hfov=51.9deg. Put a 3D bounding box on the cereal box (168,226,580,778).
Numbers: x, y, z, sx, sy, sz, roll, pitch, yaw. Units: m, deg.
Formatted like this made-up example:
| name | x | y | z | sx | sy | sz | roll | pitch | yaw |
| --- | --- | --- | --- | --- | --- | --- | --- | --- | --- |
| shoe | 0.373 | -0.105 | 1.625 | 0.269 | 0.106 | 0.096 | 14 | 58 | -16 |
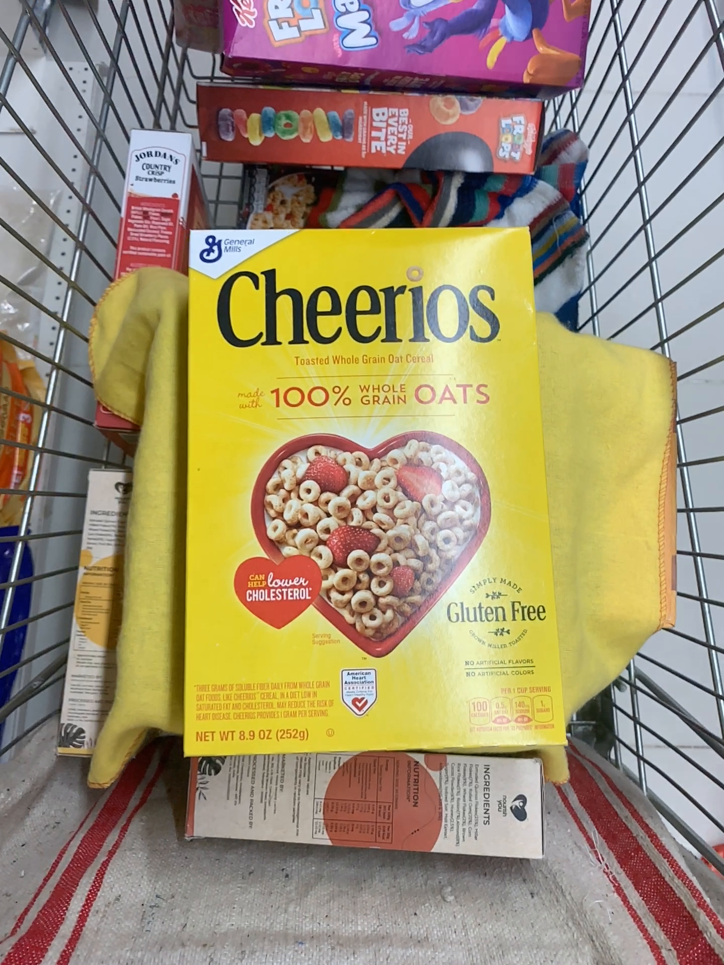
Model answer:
| name | x | y | z | sx | sy | sz | roll | pitch | yaw |
| --- | --- | --- | --- | --- | --- | --- | --- | --- | --- |
| cereal box | 0.001 | 0.005 | 0.396 | 0.190 | 0.060 | 0.270 | -2 | 80 | -2 |
